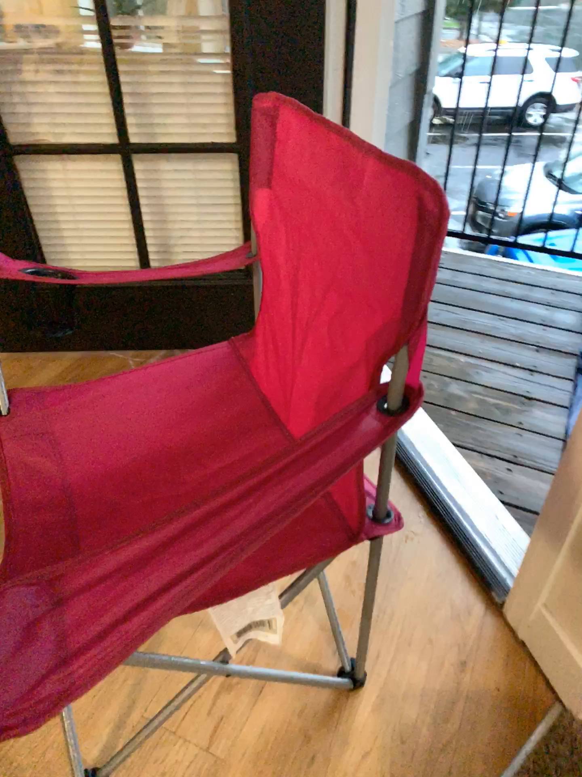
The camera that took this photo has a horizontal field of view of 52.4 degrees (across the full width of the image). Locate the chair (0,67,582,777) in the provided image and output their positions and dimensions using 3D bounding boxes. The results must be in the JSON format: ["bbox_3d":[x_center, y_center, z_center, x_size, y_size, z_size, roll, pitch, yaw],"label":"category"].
[{"bbox_3d":[-0.123,0.068,0.809,0.670,0.776,0.653,-12,39,-16],"label":"chair"}]
